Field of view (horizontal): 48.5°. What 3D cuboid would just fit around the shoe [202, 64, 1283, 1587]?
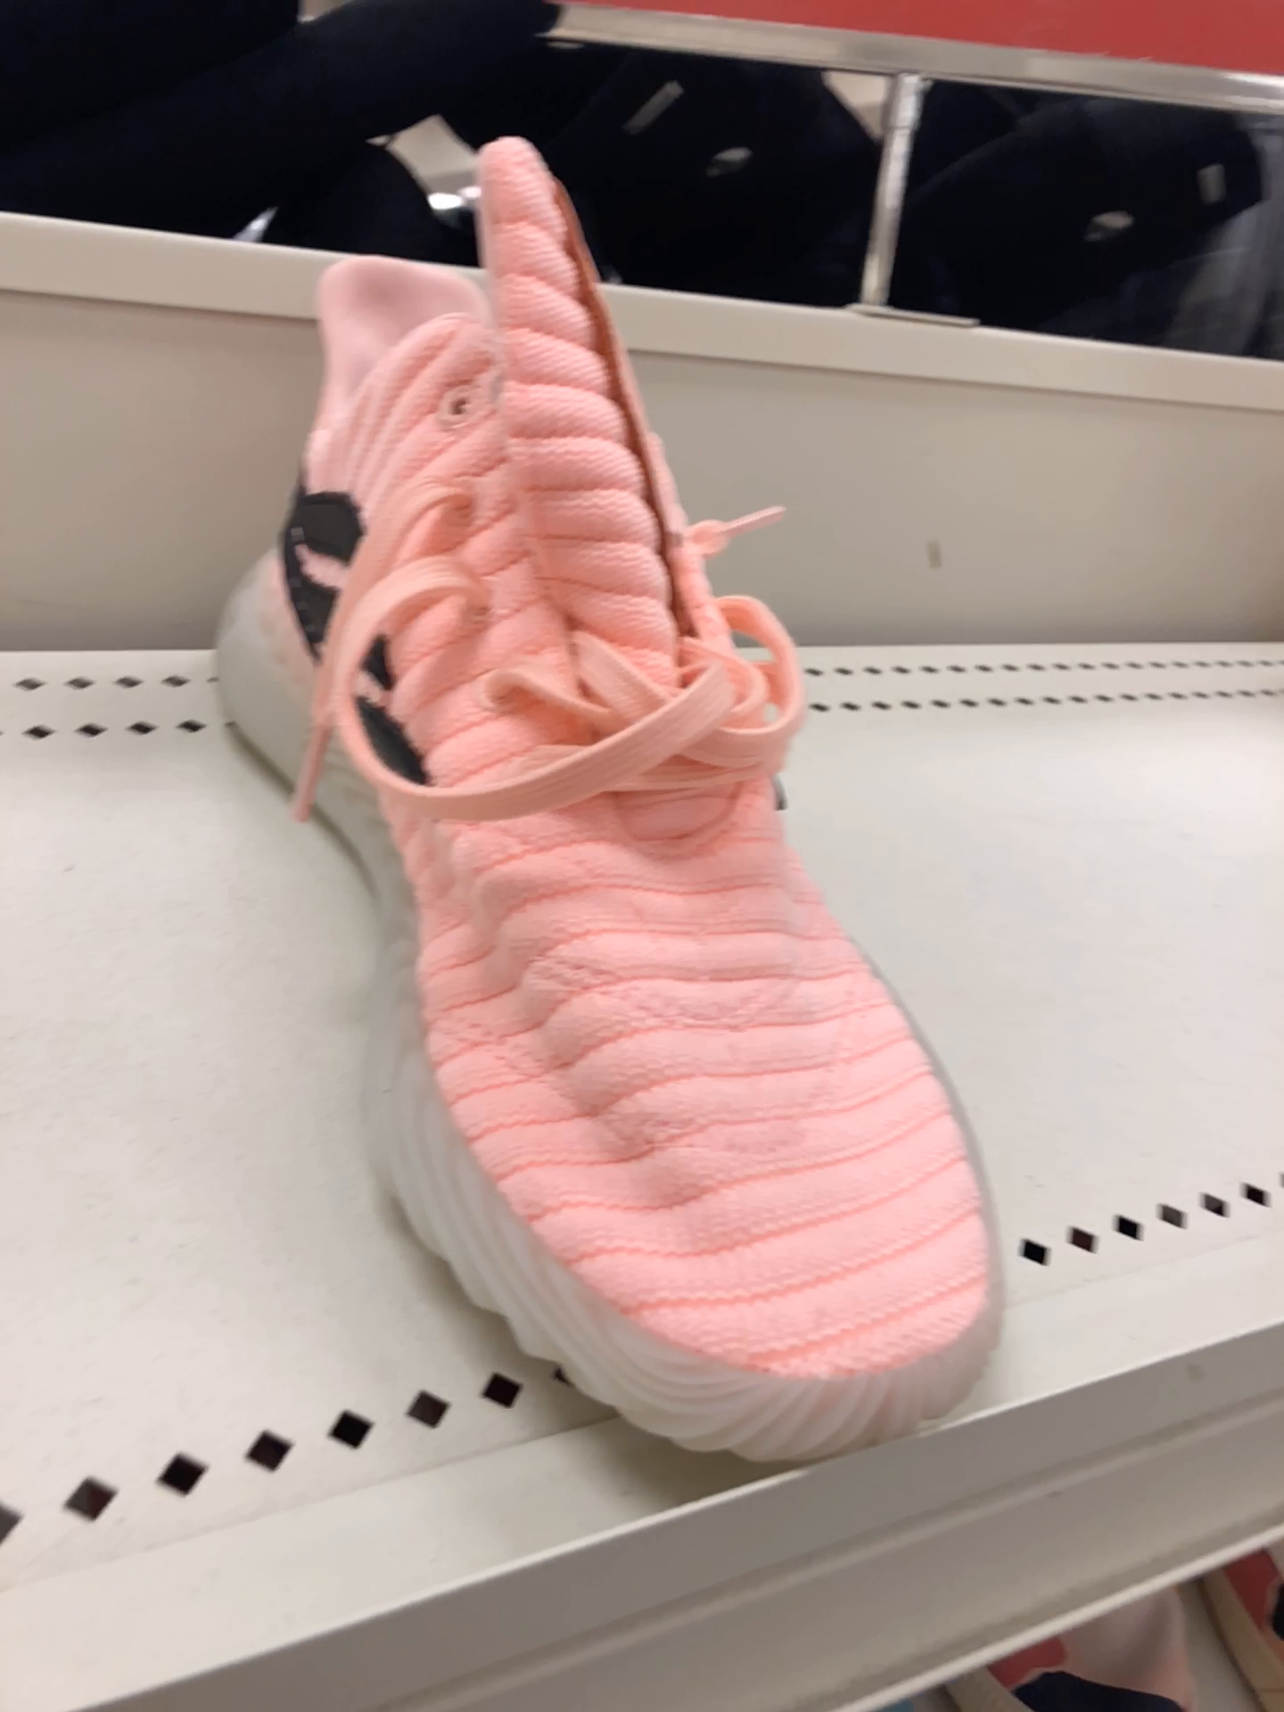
[{"bbox_3d":[-0.011,-0.055,0.311,0.120,0.169,0.322,-3,32,-24],"label":"shoe"}]
